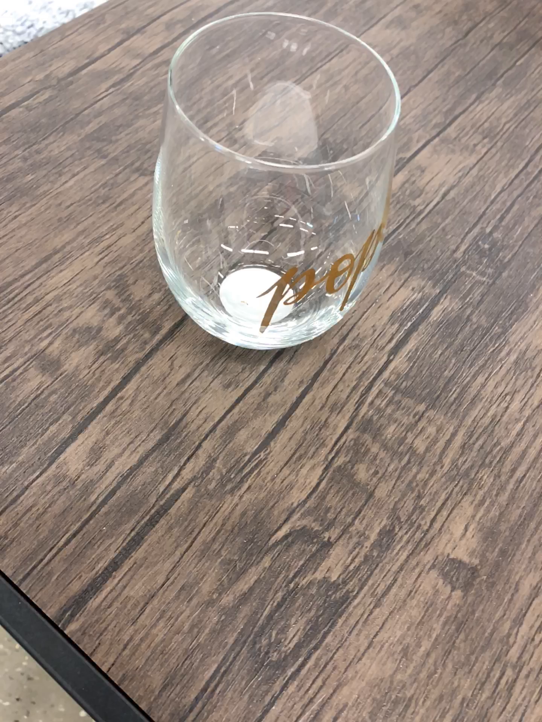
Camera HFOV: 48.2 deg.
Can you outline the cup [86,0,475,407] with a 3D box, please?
[{"bbox_3d":[-0.008,-0.060,0.234,0.100,0.130,0.100,3,59,-4],"label":"cup"}]
